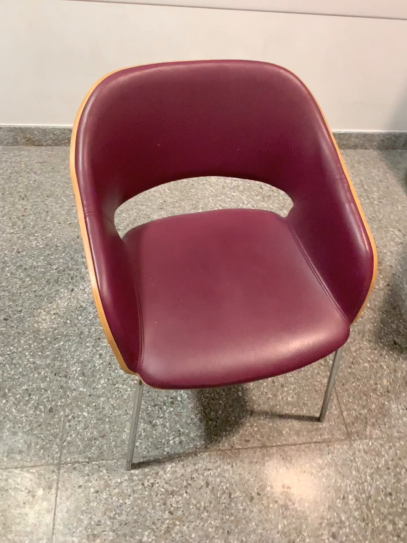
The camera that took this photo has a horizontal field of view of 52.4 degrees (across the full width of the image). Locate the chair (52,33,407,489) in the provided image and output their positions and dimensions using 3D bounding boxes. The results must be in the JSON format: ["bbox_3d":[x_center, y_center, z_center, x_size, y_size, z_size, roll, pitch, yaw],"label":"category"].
[{"bbox_3d":[0.044,0.004,0.928,0.570,0.734,0.635,-9,55,-13],"label":"chair"}]
